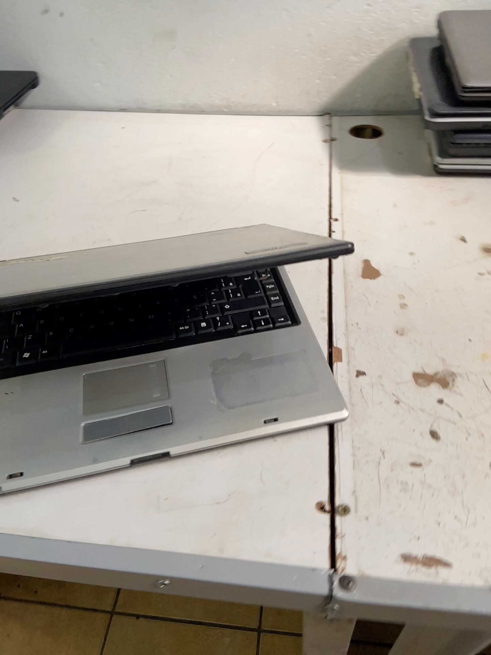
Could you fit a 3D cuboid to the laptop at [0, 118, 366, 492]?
[{"bbox_3d":[-0.109,-0.040,0.428,0.317,0.130,0.255,-10,45,-6],"label":"laptop"}]
